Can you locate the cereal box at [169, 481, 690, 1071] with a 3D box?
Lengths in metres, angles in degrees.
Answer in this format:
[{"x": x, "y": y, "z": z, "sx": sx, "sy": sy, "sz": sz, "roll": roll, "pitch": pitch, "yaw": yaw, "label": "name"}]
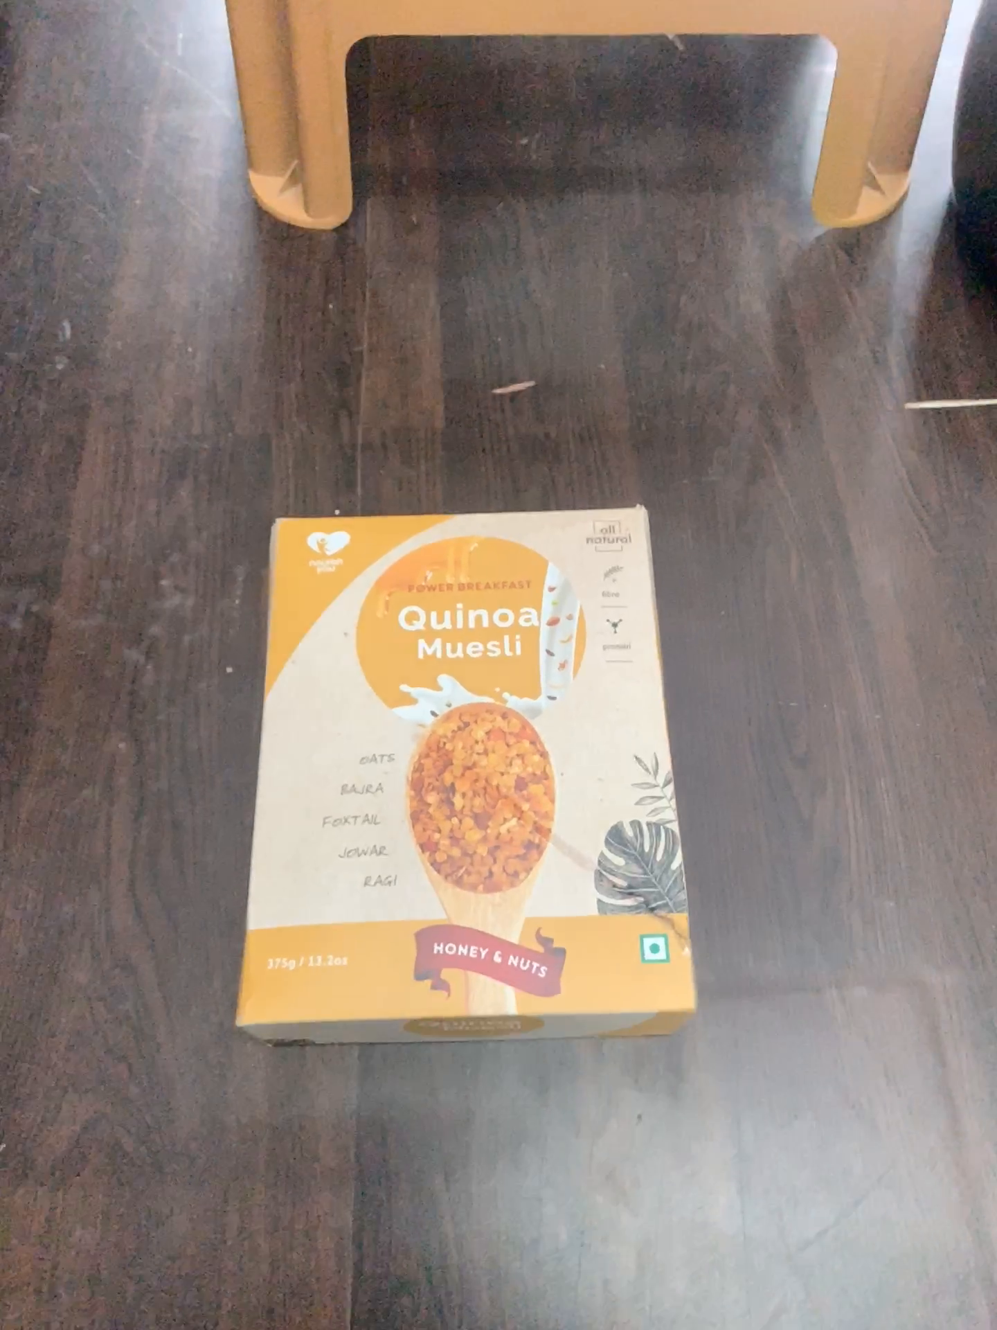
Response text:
[{"x": -0.025, "y": 0.039, "z": 0.409, "sx": 0.170, "sy": 0.060, "sz": 0.220, "roll": -2, "pitch": 66, "yaw": 0, "label": "cereal box"}]
